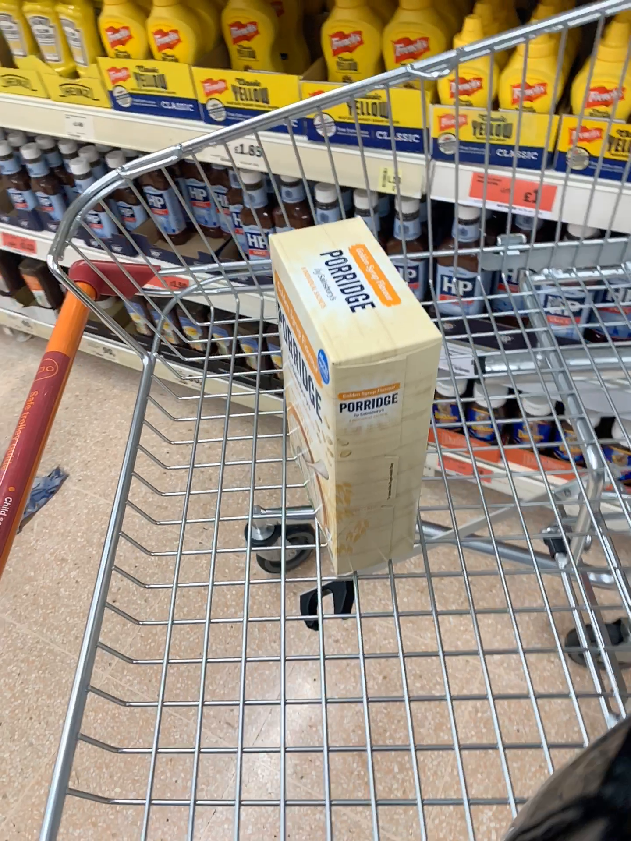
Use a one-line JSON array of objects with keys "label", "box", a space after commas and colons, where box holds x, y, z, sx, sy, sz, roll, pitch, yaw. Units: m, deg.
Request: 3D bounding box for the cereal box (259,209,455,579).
[{"label": "cereal box", "box": [0.024, -0.010, 0.439, 0.070, 0.208, 0.131, -15, 48, -9]}]
